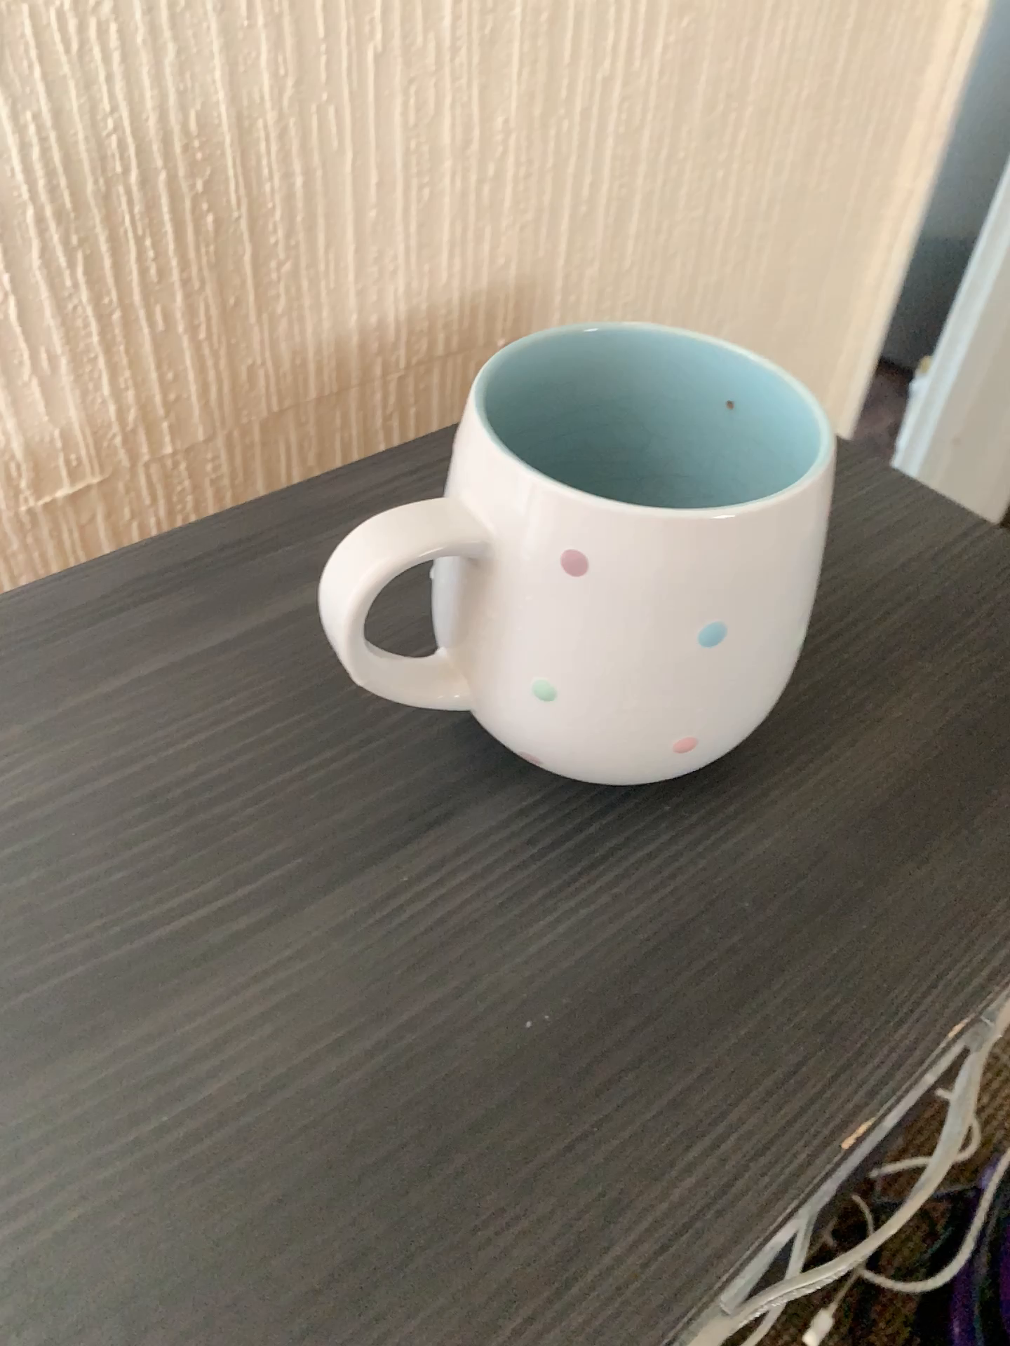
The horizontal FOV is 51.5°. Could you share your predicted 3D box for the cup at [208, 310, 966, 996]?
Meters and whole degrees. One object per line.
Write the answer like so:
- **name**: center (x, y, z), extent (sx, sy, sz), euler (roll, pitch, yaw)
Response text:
- **cup**: center (0.010, -0.011, 0.256), extent (0.130, 0.099, 0.101), euler (-15, 48, -19)
